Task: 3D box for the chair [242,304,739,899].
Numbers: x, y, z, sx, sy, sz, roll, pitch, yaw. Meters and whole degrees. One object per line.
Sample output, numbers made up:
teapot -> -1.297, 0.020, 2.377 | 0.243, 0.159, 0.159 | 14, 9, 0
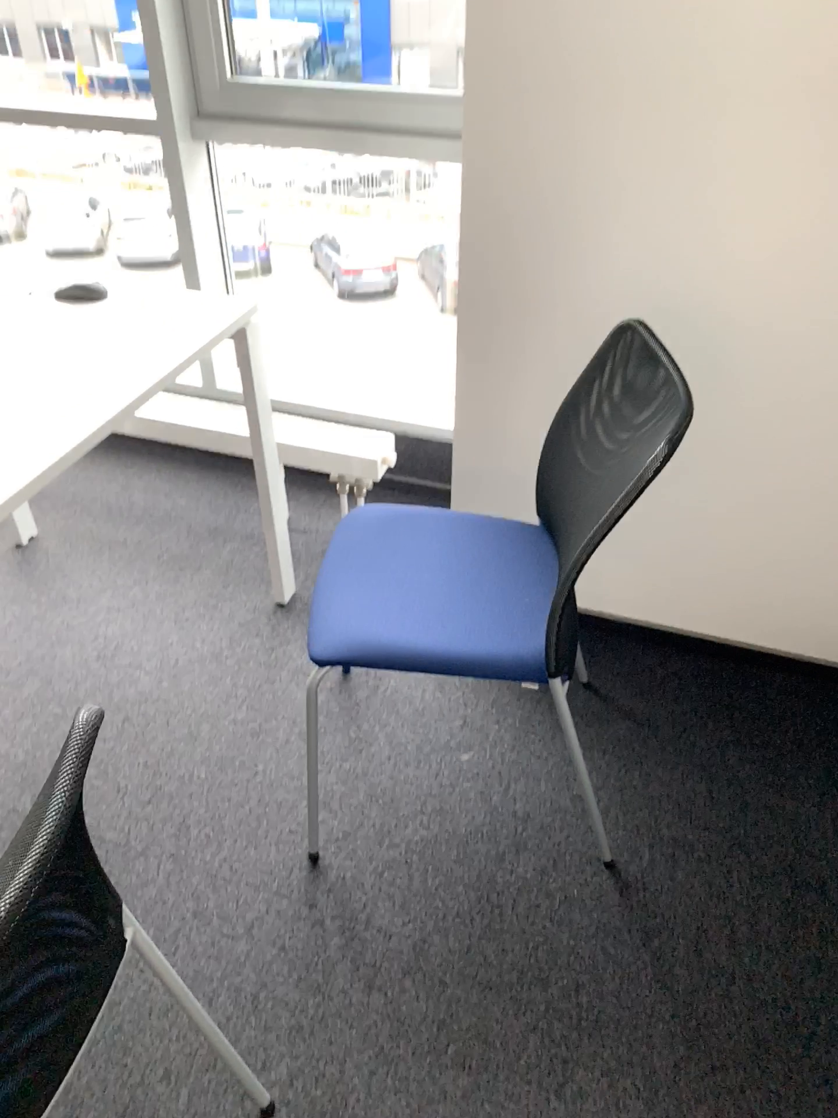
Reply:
chair -> 0.087, 0.096, 1.502 | 0.590, 0.895, 0.533 | 1, 38, 1
